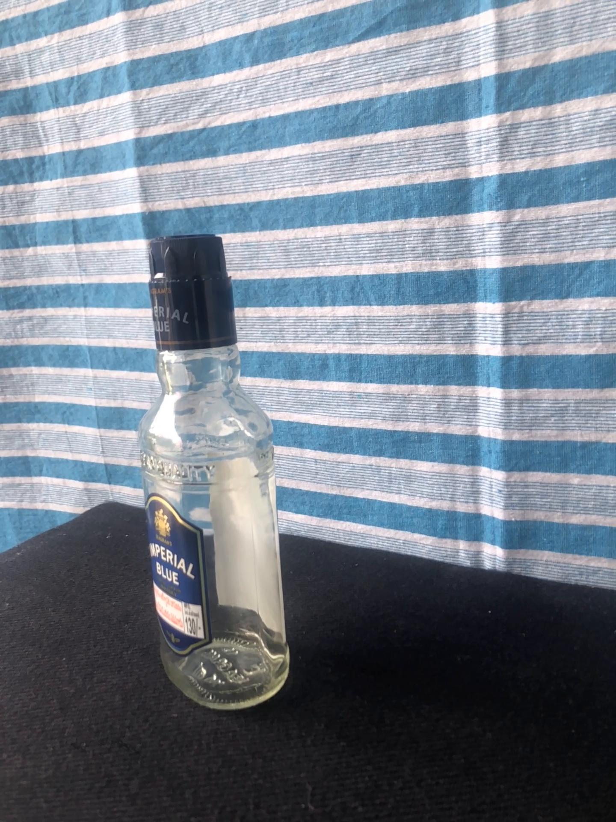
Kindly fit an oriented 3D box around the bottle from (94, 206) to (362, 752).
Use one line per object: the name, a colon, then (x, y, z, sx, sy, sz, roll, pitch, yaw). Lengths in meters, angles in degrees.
bottle: (-0.026, 0.018, 0.242, 0.050, 0.169, 0.070, -15, 19, -39)
